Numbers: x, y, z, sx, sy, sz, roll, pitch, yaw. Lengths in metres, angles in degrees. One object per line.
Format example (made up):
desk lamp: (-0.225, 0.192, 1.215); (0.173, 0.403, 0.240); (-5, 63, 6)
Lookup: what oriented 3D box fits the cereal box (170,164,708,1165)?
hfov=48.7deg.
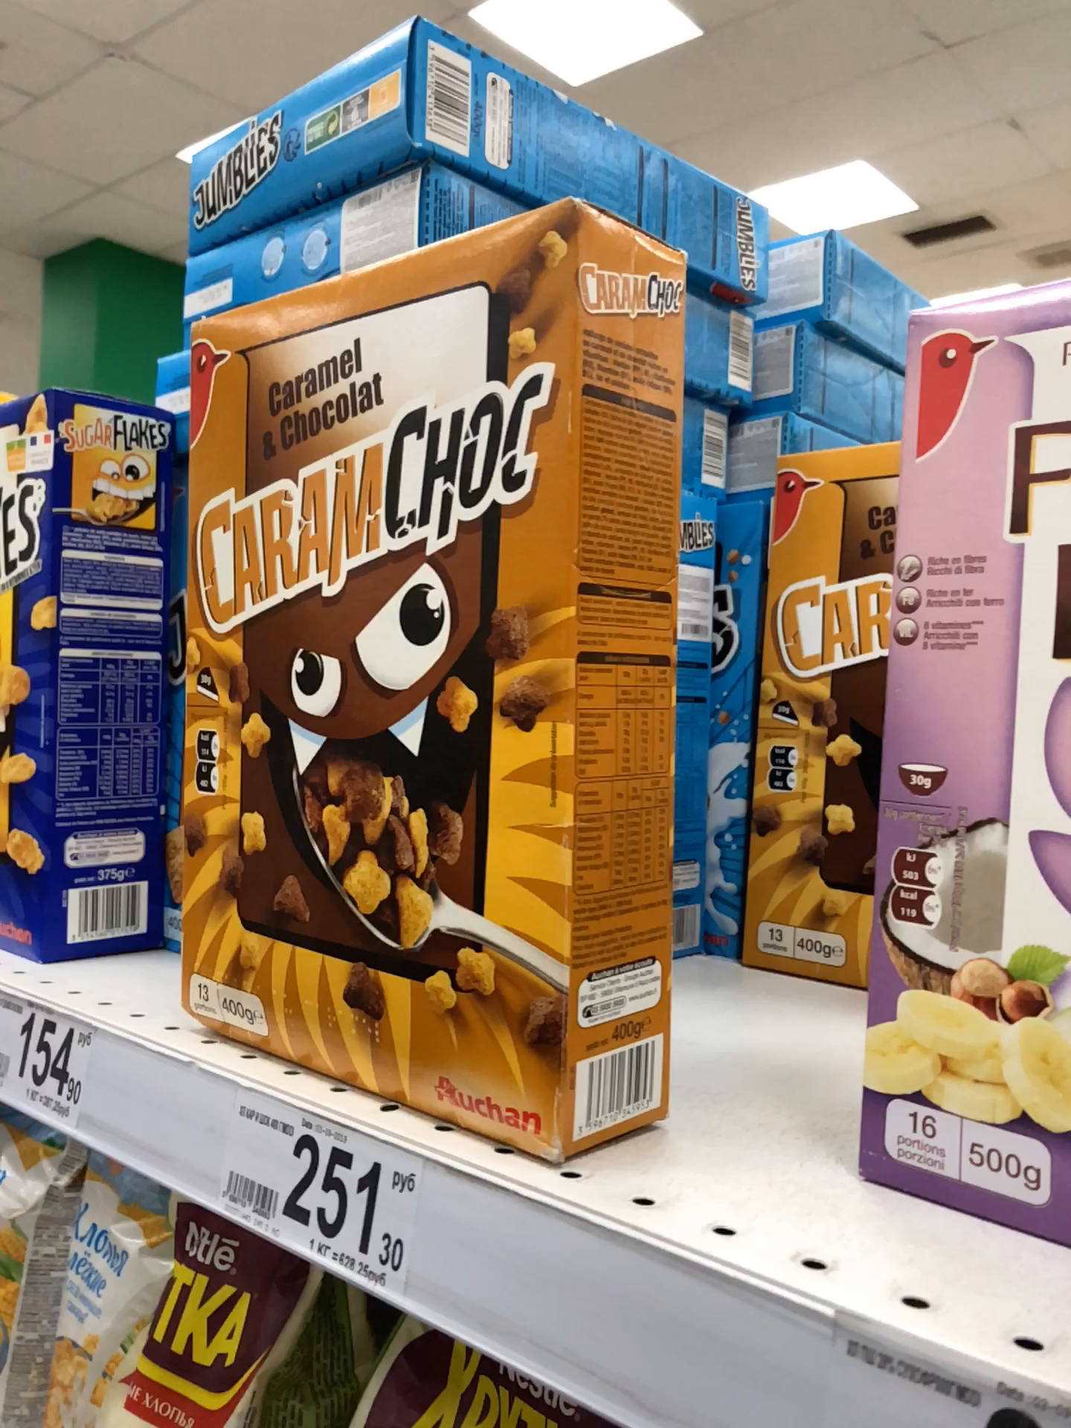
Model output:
cereal box: (-0.044, -0.016, 0.409); (0.200, 0.270, 0.060); (2, 1, 42)
